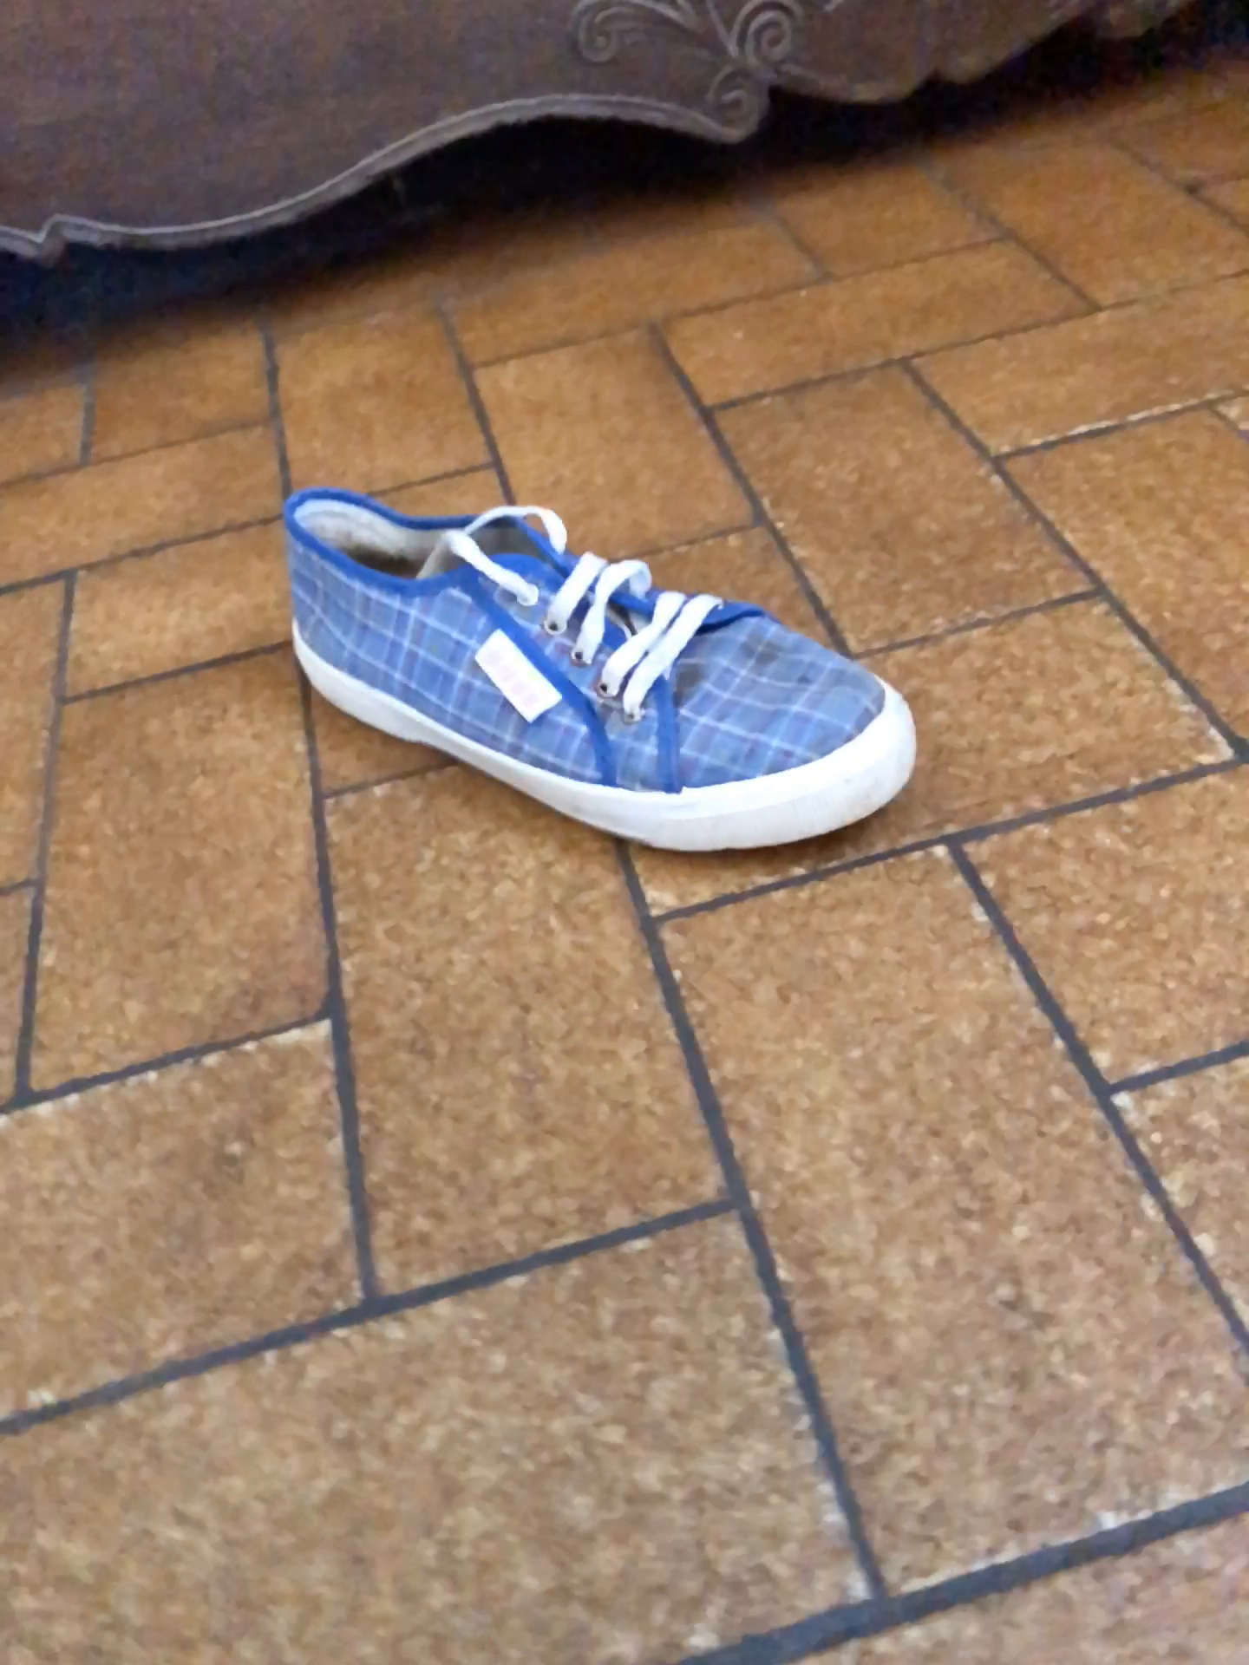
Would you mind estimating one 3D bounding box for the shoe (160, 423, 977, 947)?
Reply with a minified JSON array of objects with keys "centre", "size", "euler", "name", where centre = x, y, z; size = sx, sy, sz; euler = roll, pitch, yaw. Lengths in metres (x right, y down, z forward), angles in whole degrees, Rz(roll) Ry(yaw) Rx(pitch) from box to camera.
[{"centre":[-0.018,-0.059,0.456],"size":[0.240,0.080,0.101],"euler":[17,51,25],"name":"shoe"}]
